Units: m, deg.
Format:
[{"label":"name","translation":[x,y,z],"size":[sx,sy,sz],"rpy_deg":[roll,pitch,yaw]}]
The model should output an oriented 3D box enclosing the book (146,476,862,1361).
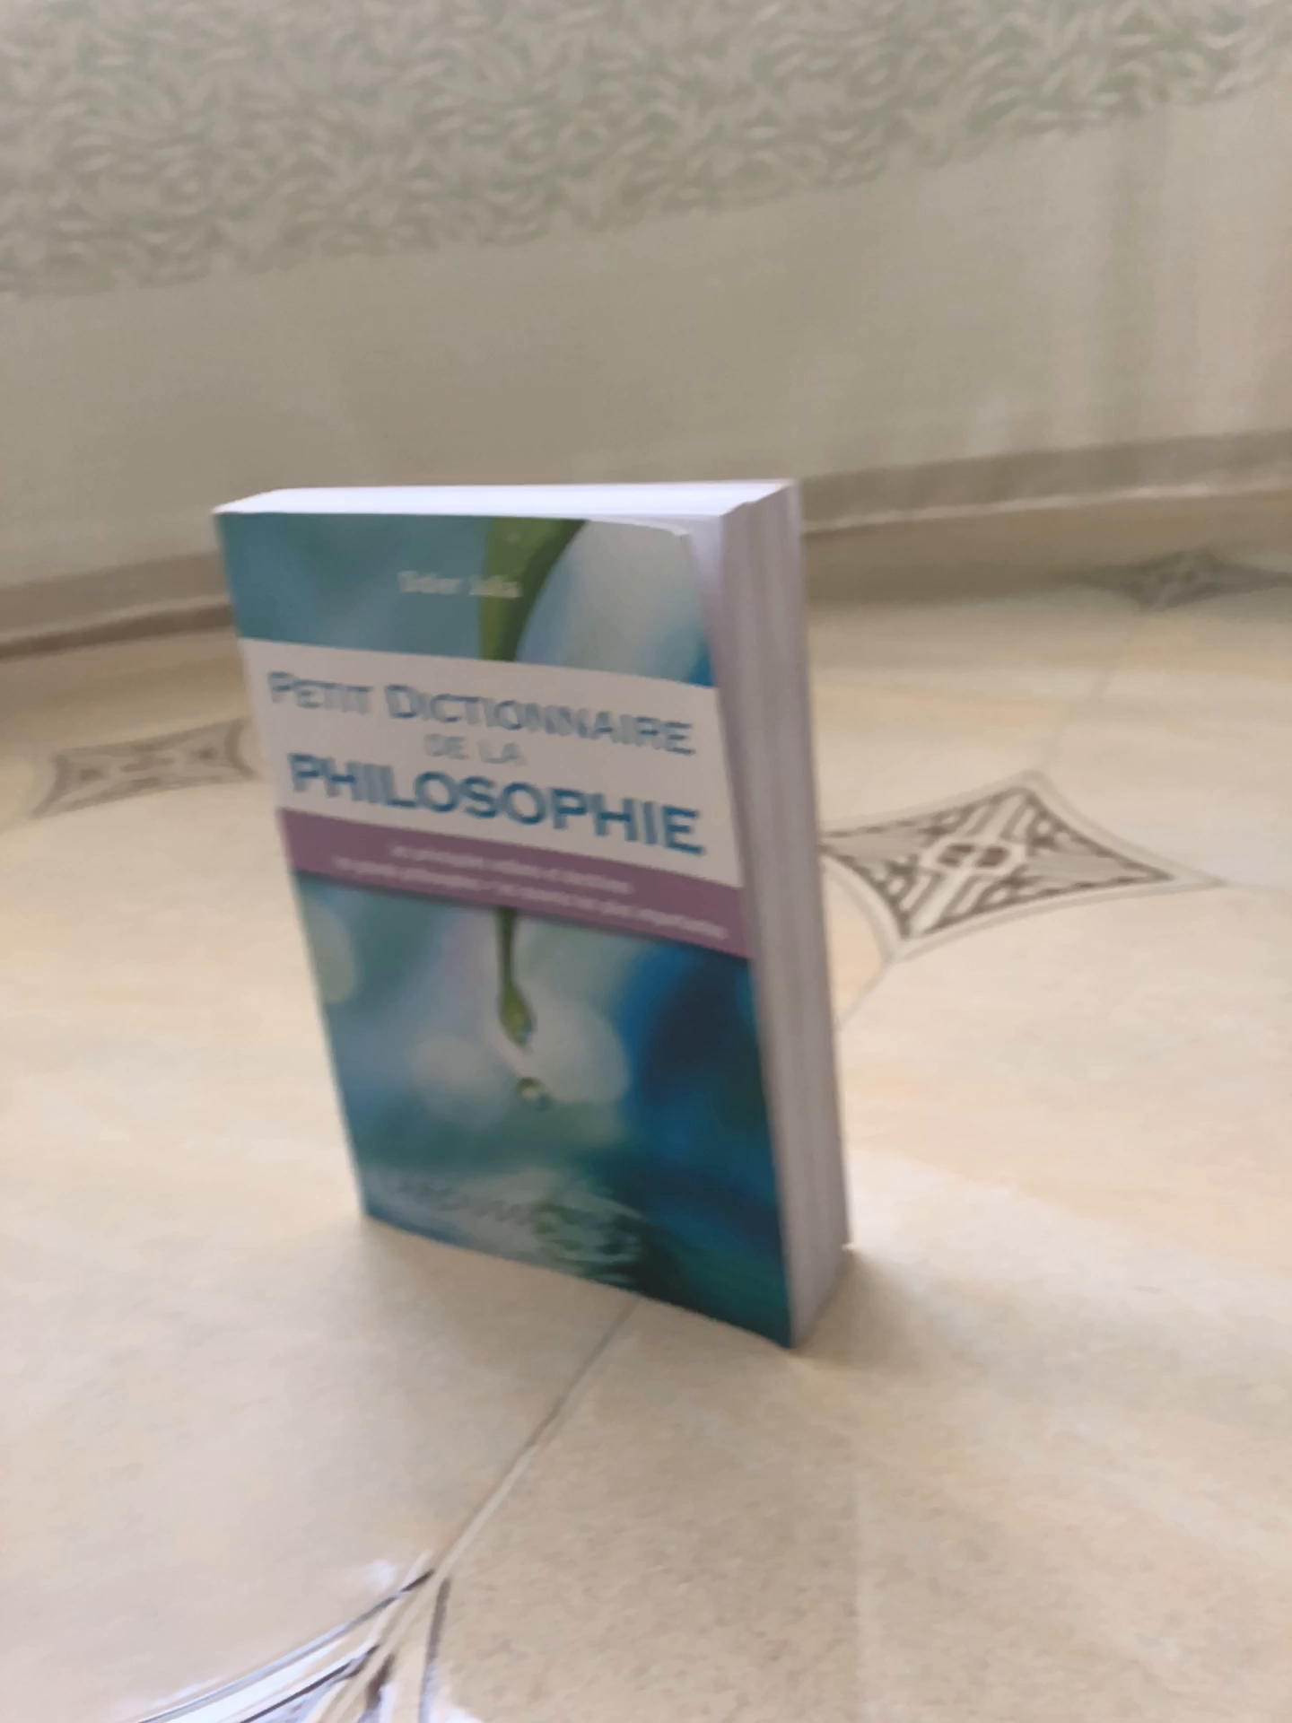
[{"label":"book","translation":[-0.028,0.011,0.329],"size":[0.140,0.185,0.034],"rpy_deg":[8,28,30]}]
